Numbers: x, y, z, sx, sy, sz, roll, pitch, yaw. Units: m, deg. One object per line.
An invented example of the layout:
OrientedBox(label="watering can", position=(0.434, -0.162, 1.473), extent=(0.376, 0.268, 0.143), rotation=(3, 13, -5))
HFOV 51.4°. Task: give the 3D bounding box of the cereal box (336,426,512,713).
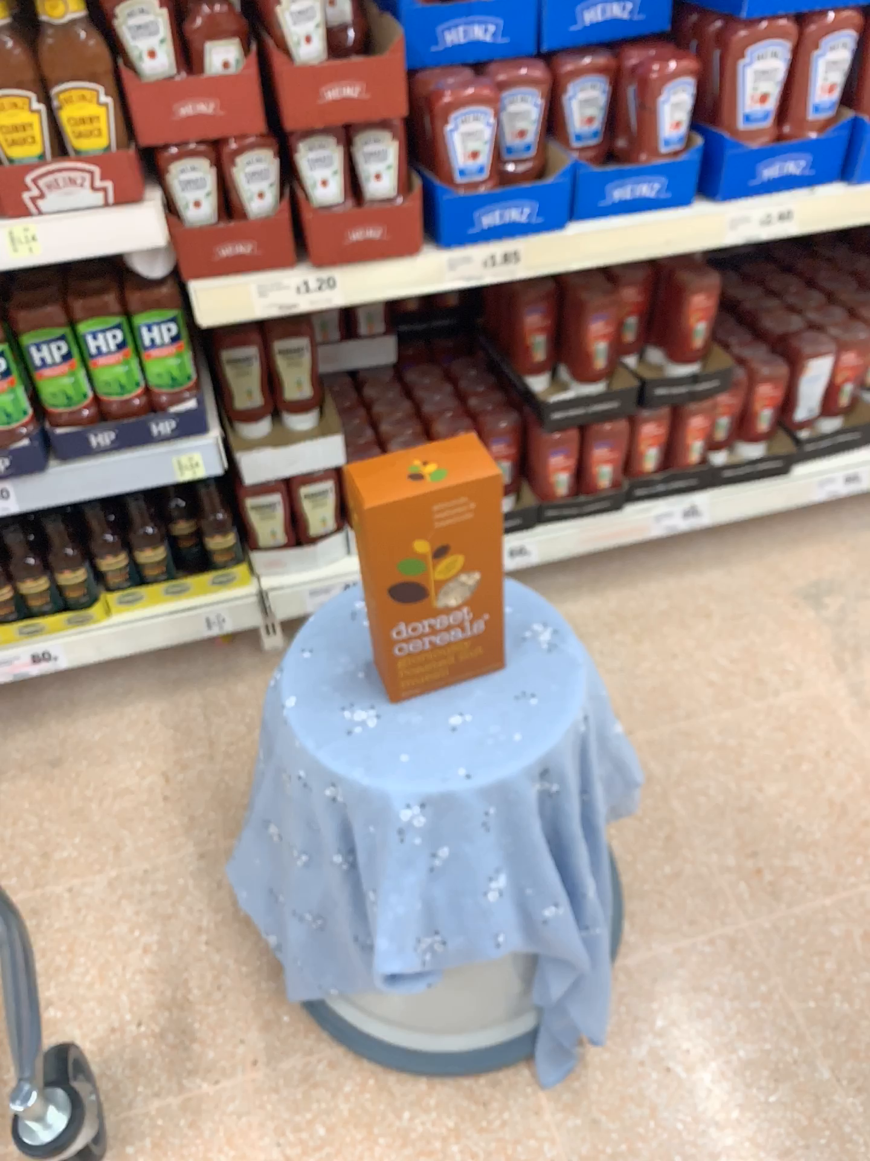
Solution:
OrientedBox(label="cereal box", position=(-0.005, -0.004, 0.775), extent=(0.120, 0.228, 0.071), rotation=(-16, 43, -13))
